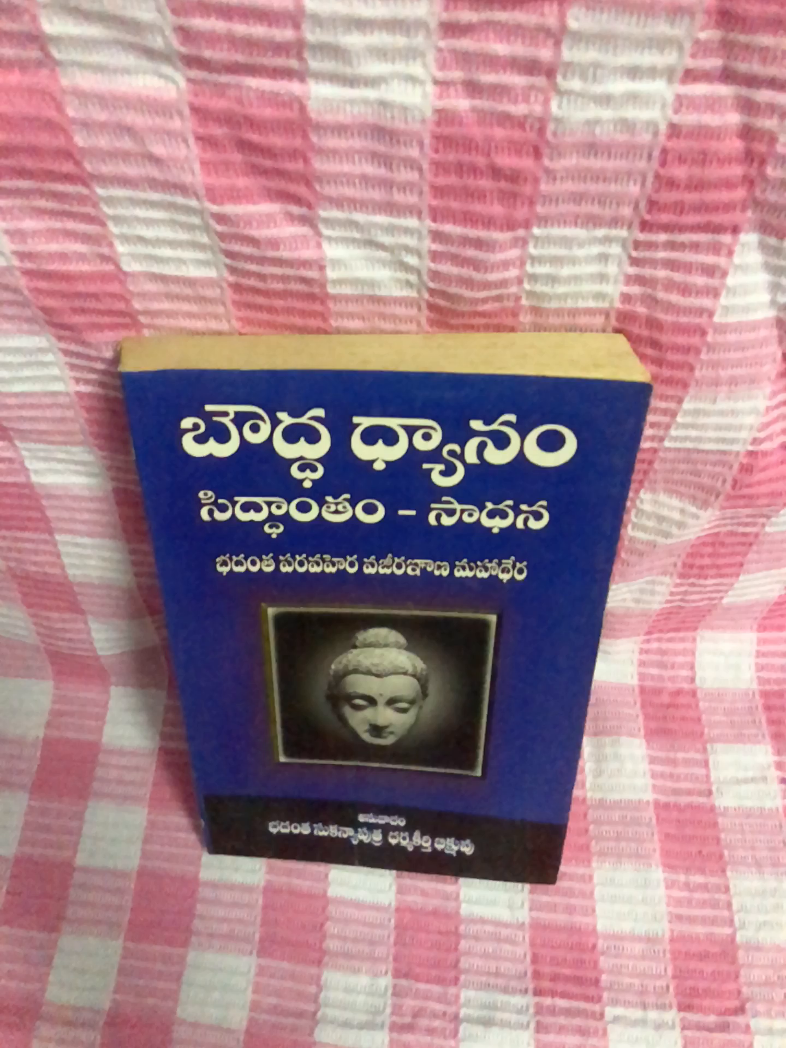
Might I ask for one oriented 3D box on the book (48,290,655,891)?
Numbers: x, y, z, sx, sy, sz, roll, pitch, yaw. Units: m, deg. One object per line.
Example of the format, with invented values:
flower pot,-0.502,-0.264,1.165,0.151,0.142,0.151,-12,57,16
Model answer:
book,-0.012,0.039,0.303,0.160,0.229,0.030,3,34,4
